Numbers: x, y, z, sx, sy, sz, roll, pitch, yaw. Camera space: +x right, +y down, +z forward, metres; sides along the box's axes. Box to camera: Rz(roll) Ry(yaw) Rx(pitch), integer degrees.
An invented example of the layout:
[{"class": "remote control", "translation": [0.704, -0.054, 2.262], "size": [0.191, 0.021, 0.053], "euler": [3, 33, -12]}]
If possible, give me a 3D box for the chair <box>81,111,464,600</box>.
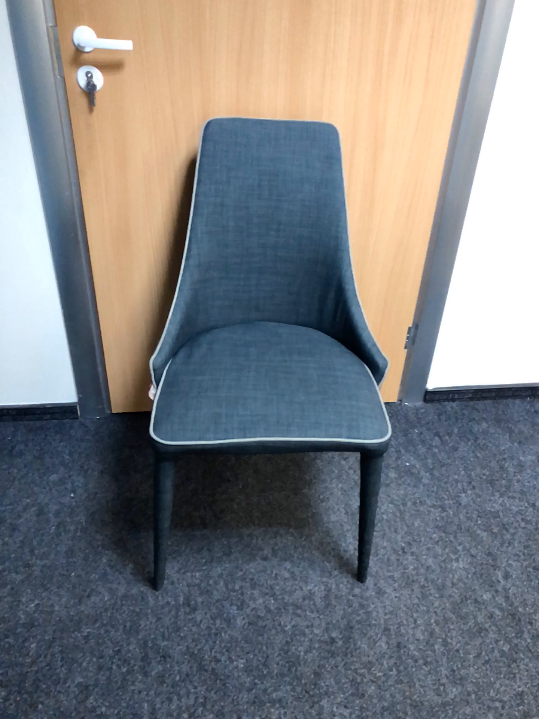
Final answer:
[{"class": "chair", "translation": [-0.026, -0.026, 1.292], "size": [0.520, 0.844, 0.644], "euler": [0, 34, -4]}]
